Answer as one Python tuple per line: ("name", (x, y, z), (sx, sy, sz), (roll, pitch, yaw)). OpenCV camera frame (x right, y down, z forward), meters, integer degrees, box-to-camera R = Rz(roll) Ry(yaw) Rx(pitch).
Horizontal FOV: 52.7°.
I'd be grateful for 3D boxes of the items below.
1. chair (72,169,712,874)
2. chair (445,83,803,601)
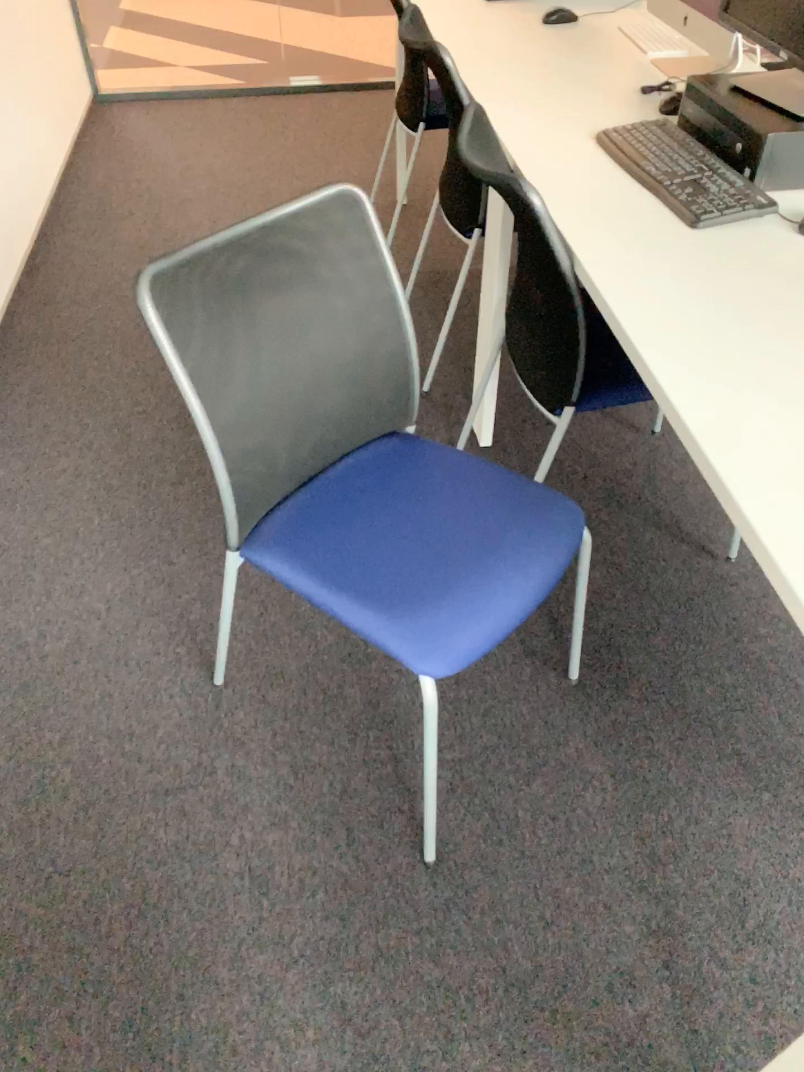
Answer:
("chair", (-0.011, -0.033, 1.363), (0.631, 0.826, 0.572), (31, 52, 28))
("chair", (0.480, -0.398, 1.743), (0.650, 0.865, 0.573), (-6, 44, -6))
